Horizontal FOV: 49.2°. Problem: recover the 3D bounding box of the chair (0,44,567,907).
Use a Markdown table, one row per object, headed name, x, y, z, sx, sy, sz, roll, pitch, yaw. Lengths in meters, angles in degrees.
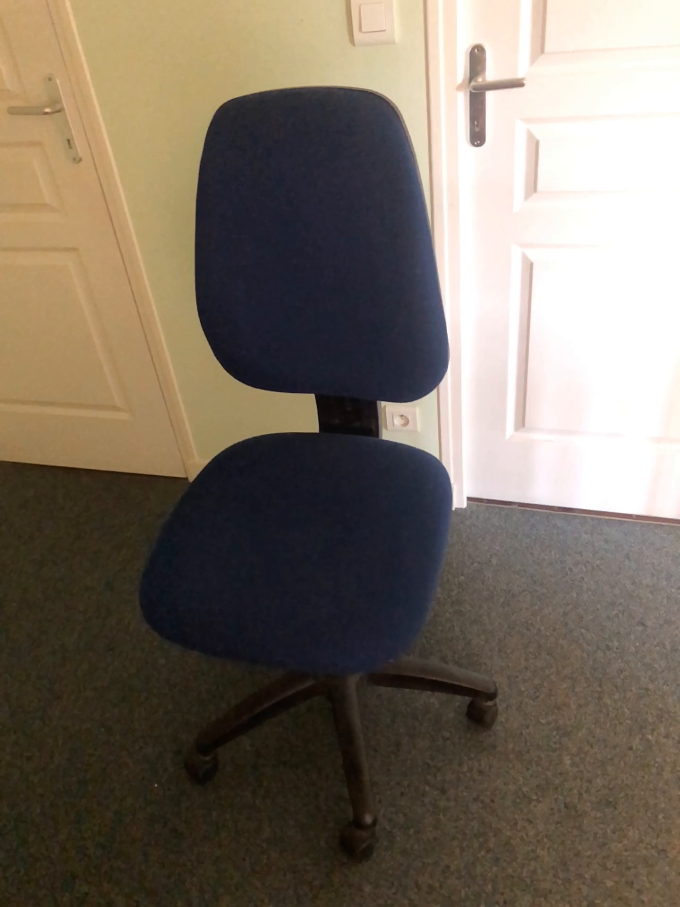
| name | x | y | z | sx | sy | sz | roll | pitch | yaw |
| --- | --- | --- | --- | --- | --- | --- | --- | --- | --- |
| chair | -0.044 | 0.048 | 1.196 | 0.700 | 1.114 | 0.674 | 4 | 37 | 15 |
